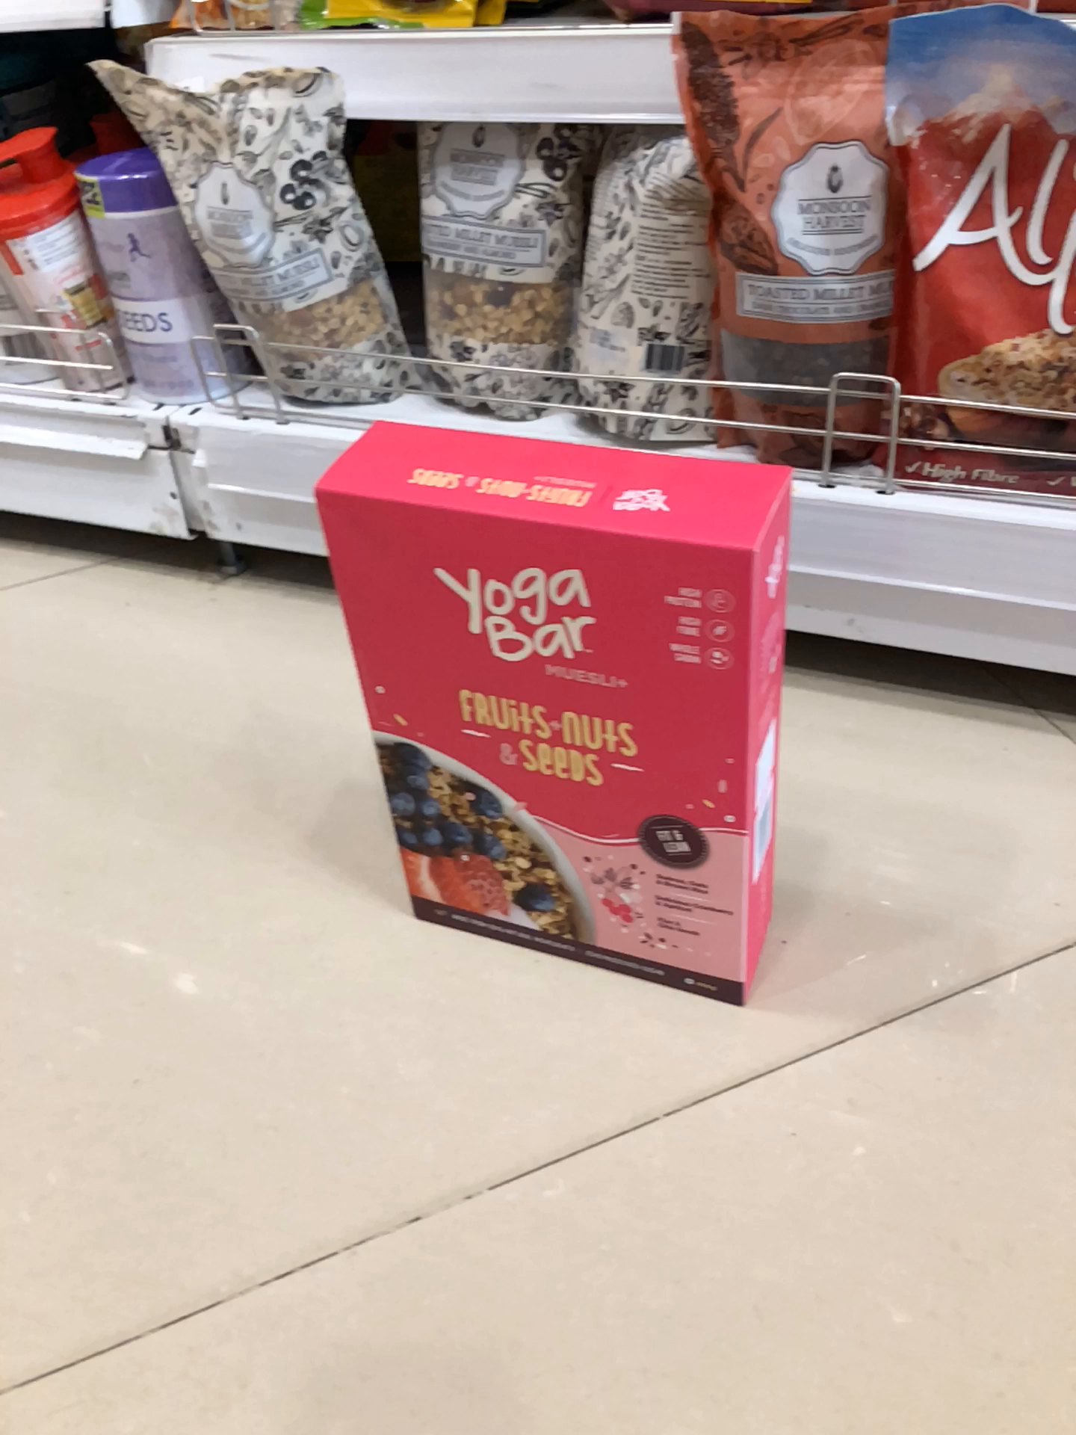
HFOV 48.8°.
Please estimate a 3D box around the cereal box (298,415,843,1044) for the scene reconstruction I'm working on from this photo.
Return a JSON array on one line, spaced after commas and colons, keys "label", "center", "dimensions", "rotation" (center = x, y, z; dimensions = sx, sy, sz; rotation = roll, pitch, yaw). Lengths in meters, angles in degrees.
[{"label": "cereal box", "center": [0.020, 0.010, 0.462], "dimensions": [0.170, 0.229, 0.060], "rotation": [11, 42, 21]}]
